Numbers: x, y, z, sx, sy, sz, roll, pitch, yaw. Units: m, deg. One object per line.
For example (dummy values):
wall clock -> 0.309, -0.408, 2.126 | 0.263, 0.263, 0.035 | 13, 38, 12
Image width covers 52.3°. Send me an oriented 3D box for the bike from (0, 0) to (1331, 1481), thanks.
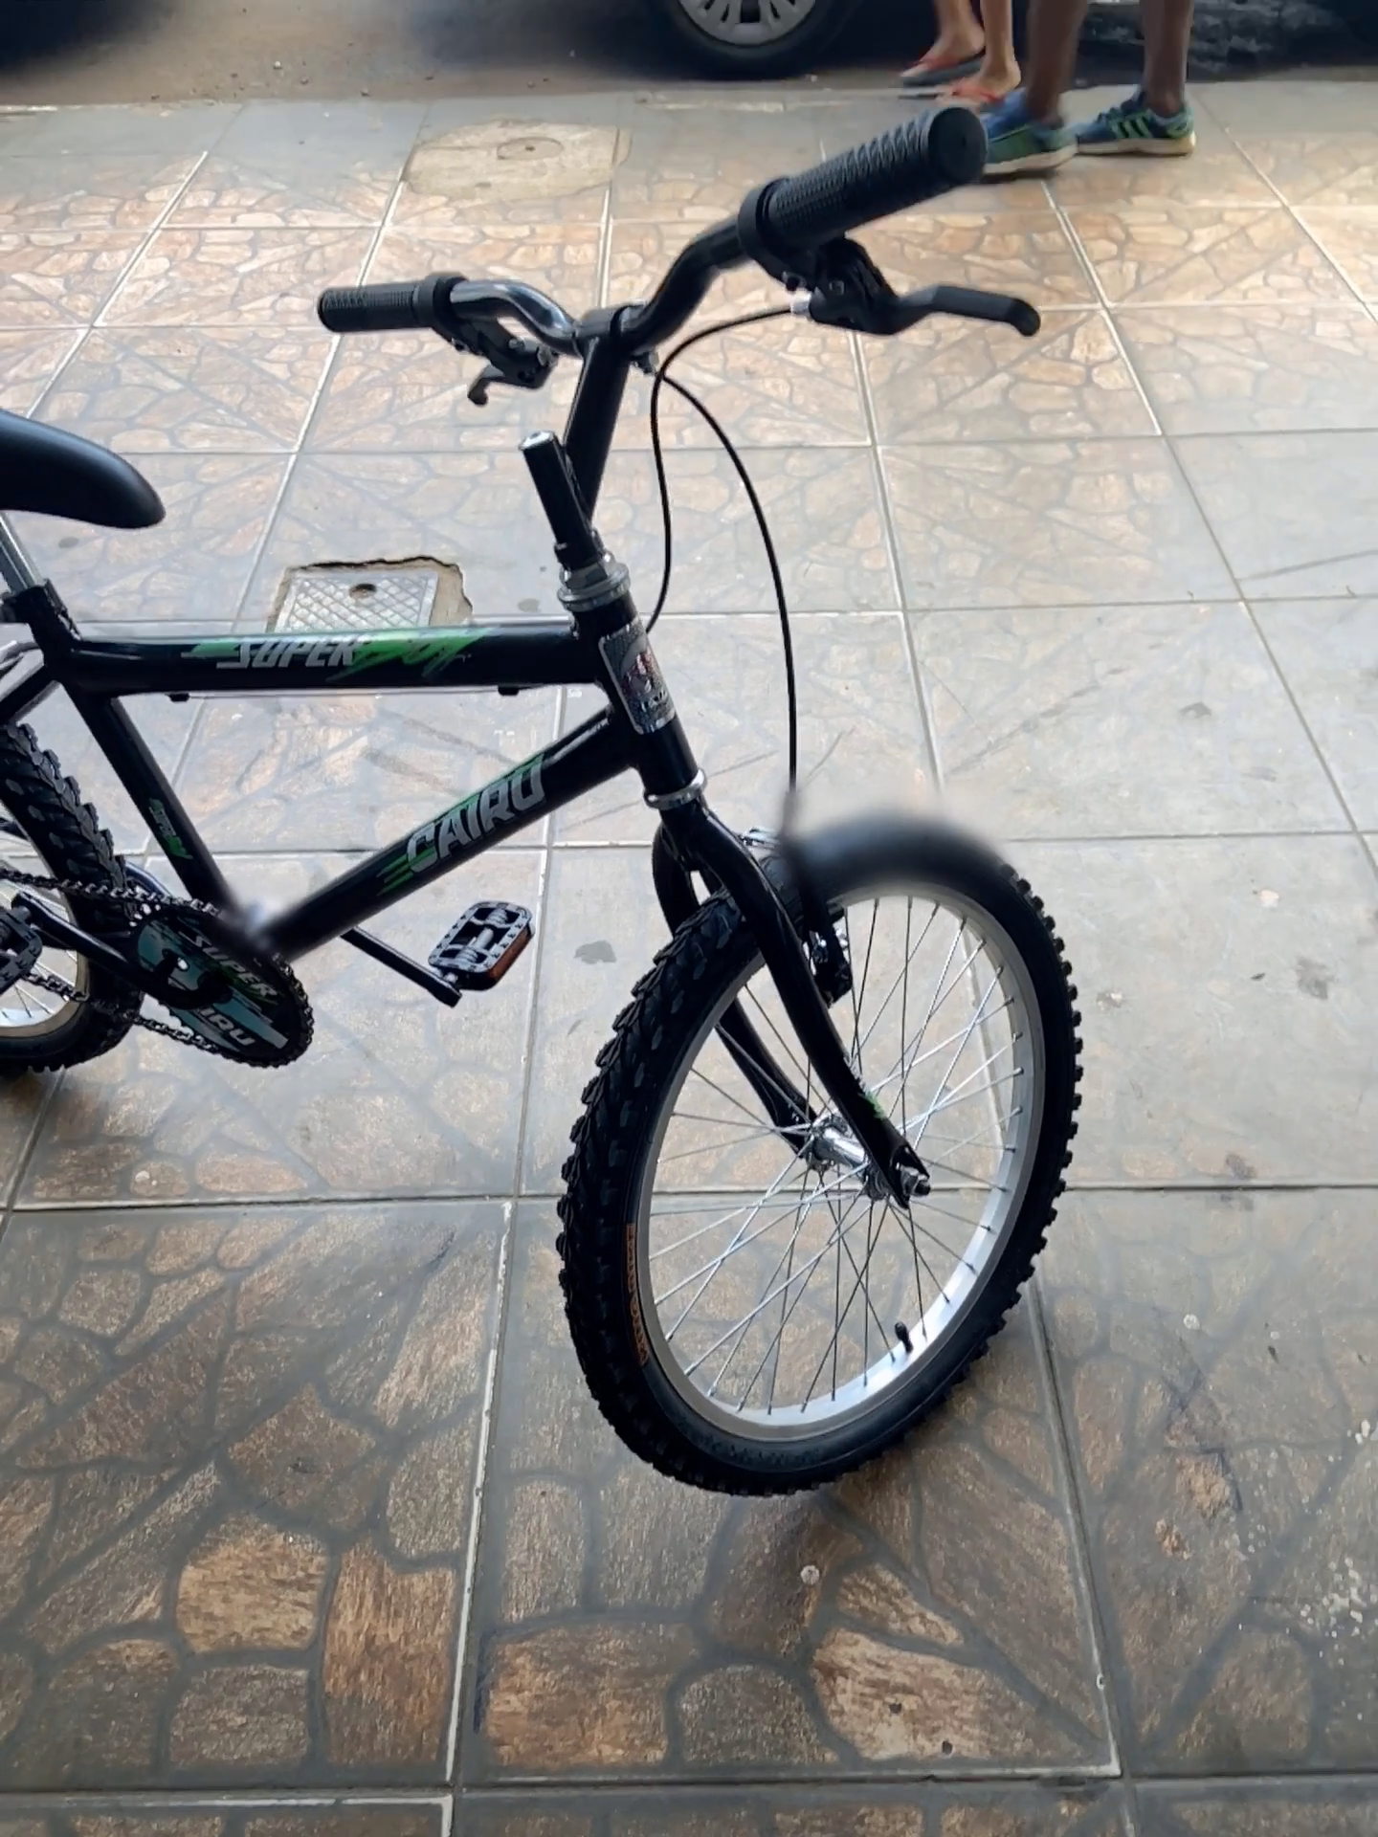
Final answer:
bike -> -0.319, -0.169, 1.093 | 1.270, 0.935, 0.601 | 11, 51, 9
